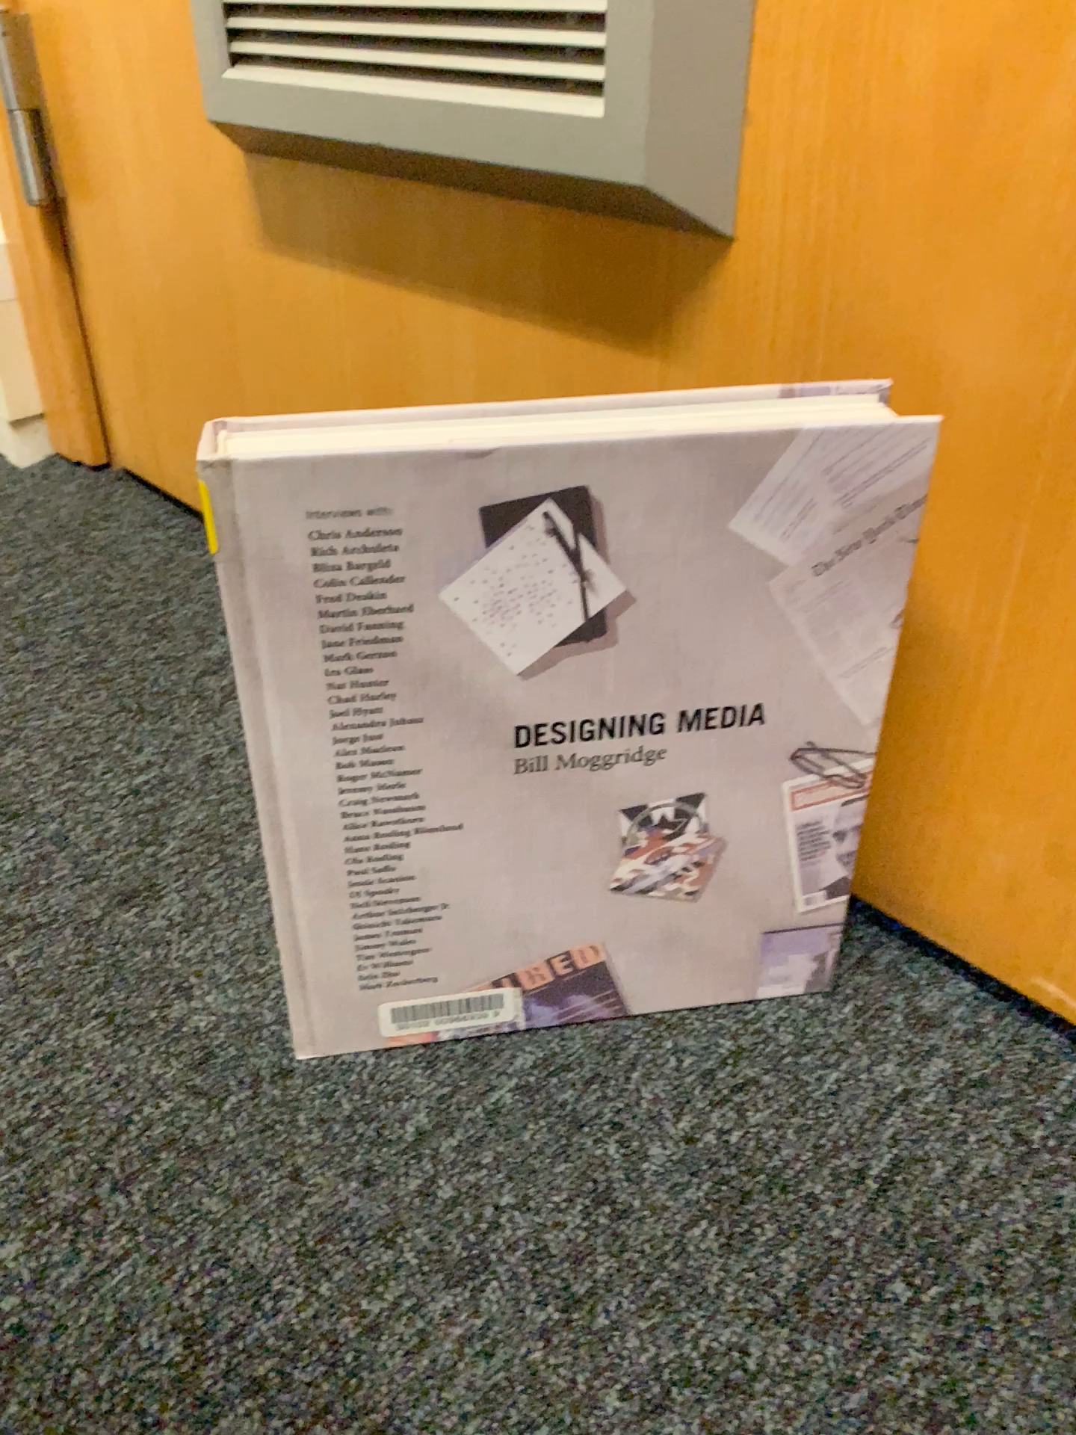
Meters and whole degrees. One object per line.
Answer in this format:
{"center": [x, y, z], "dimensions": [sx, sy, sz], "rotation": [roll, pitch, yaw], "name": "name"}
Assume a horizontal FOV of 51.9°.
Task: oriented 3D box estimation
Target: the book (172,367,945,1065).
{"center": [0.007, 0.009, 0.374], "dimensions": [0.210, 0.231, 0.040], "rotation": [-6, 34, -9], "name": "book"}
